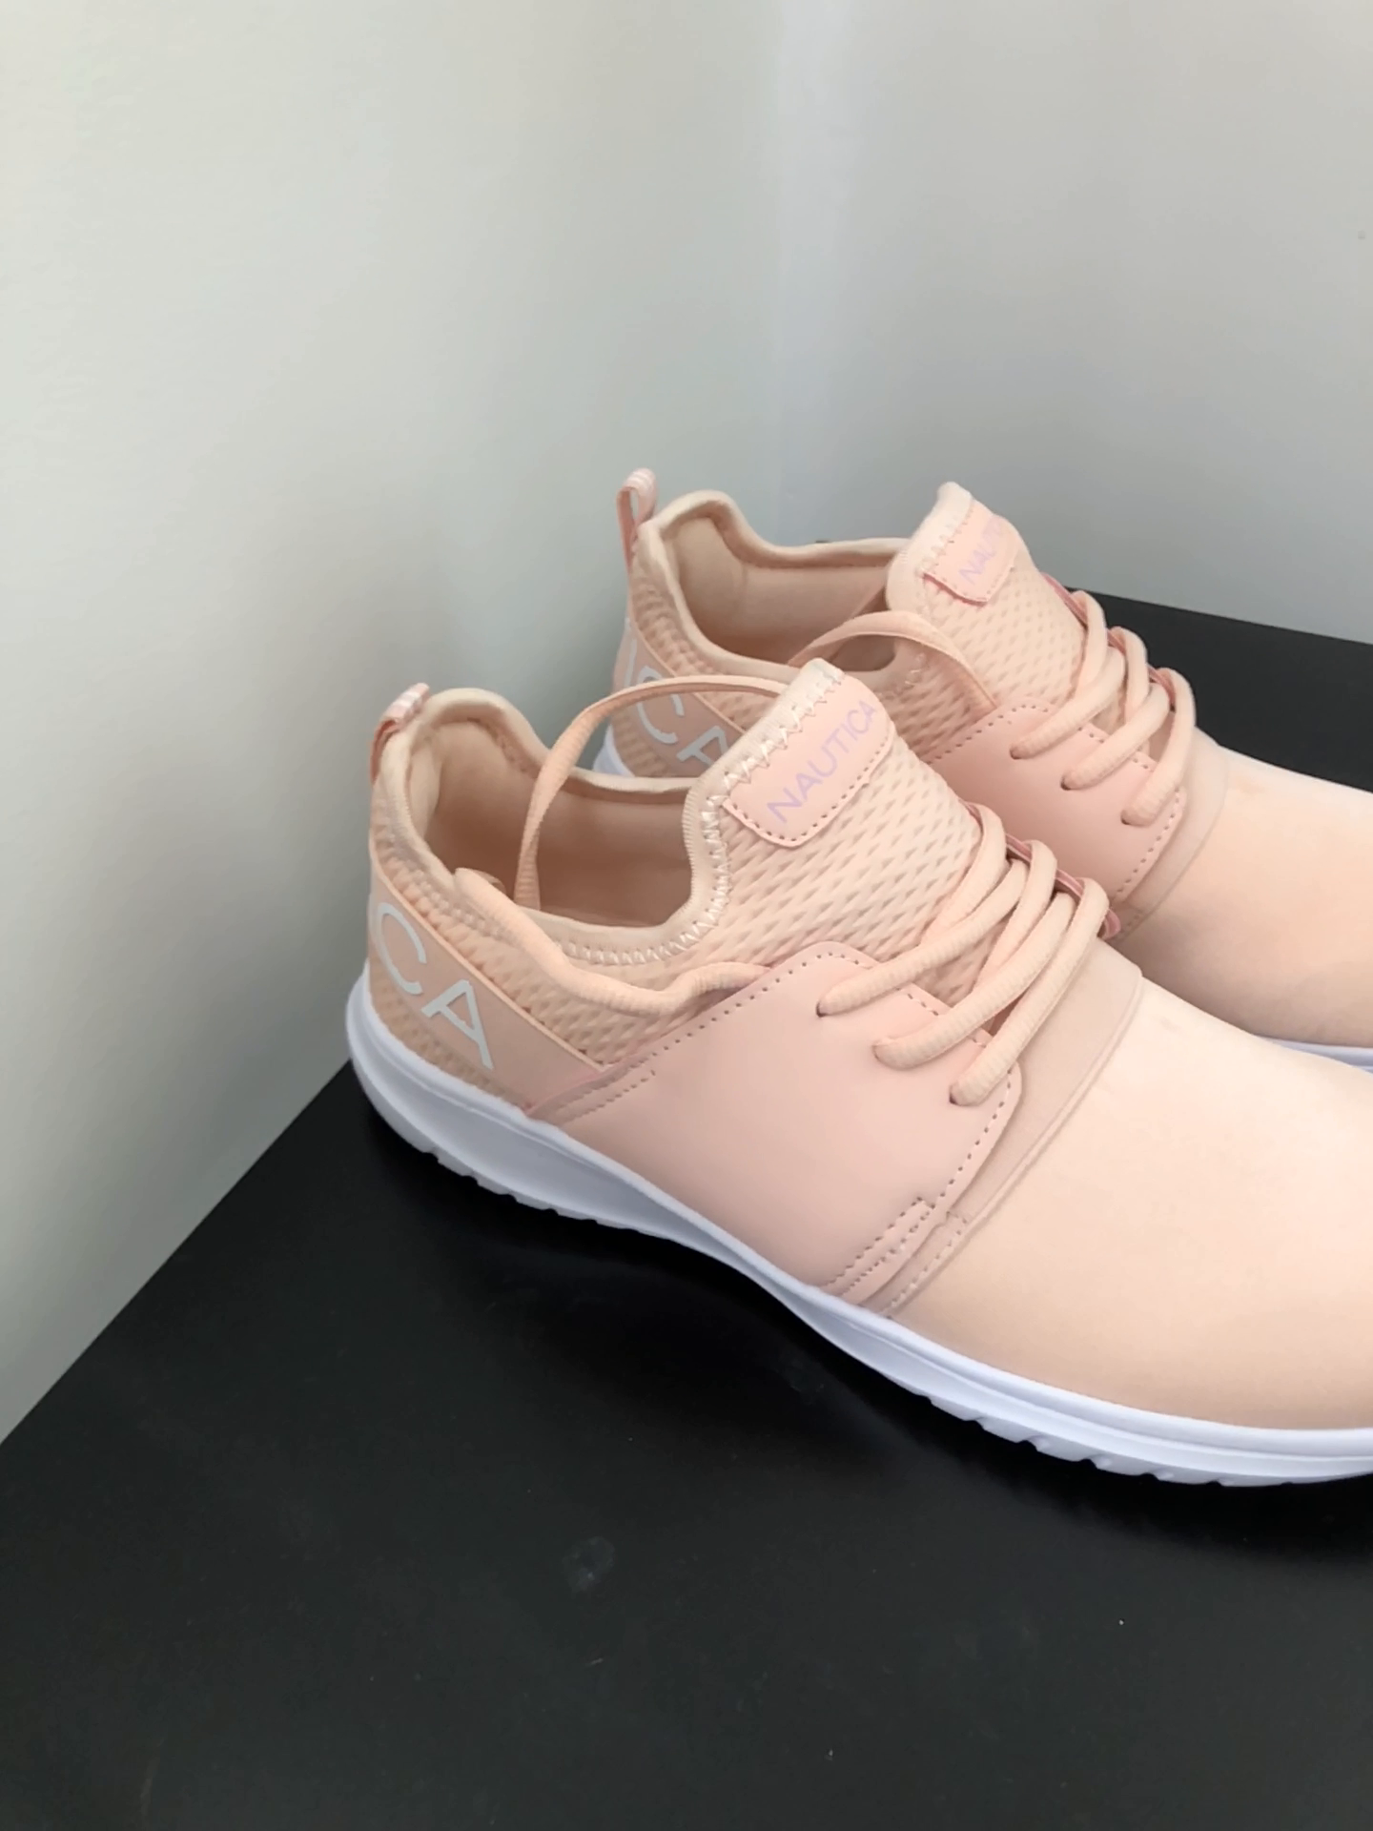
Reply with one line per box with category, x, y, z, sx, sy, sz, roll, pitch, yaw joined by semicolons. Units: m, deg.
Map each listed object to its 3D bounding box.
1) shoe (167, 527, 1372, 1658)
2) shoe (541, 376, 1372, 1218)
shoe;0.044;0.018;0.294;0.250;0.110;0.100;16;42;20
shoe;0.099;-0.040;0.359;0.240;0.110;0.100;16;42;20
